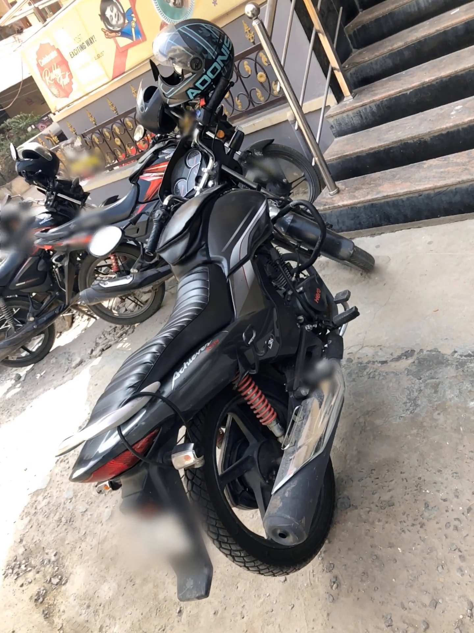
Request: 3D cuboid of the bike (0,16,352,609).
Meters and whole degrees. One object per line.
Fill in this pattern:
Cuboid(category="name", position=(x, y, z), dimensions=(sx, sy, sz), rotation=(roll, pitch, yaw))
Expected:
Cuboid(category="bike", position=(-0.176, -0.159, 1.936), dimensions=(0.747, 1.156, 1.742), rotation=(-18, 33, 25))

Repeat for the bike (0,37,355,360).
Cuboid(category="bike", position=(-0.340, -0.688, 3.093), dimensions=(1.599, 1.057, 0.687), rotation=(-32, 27, -3))
